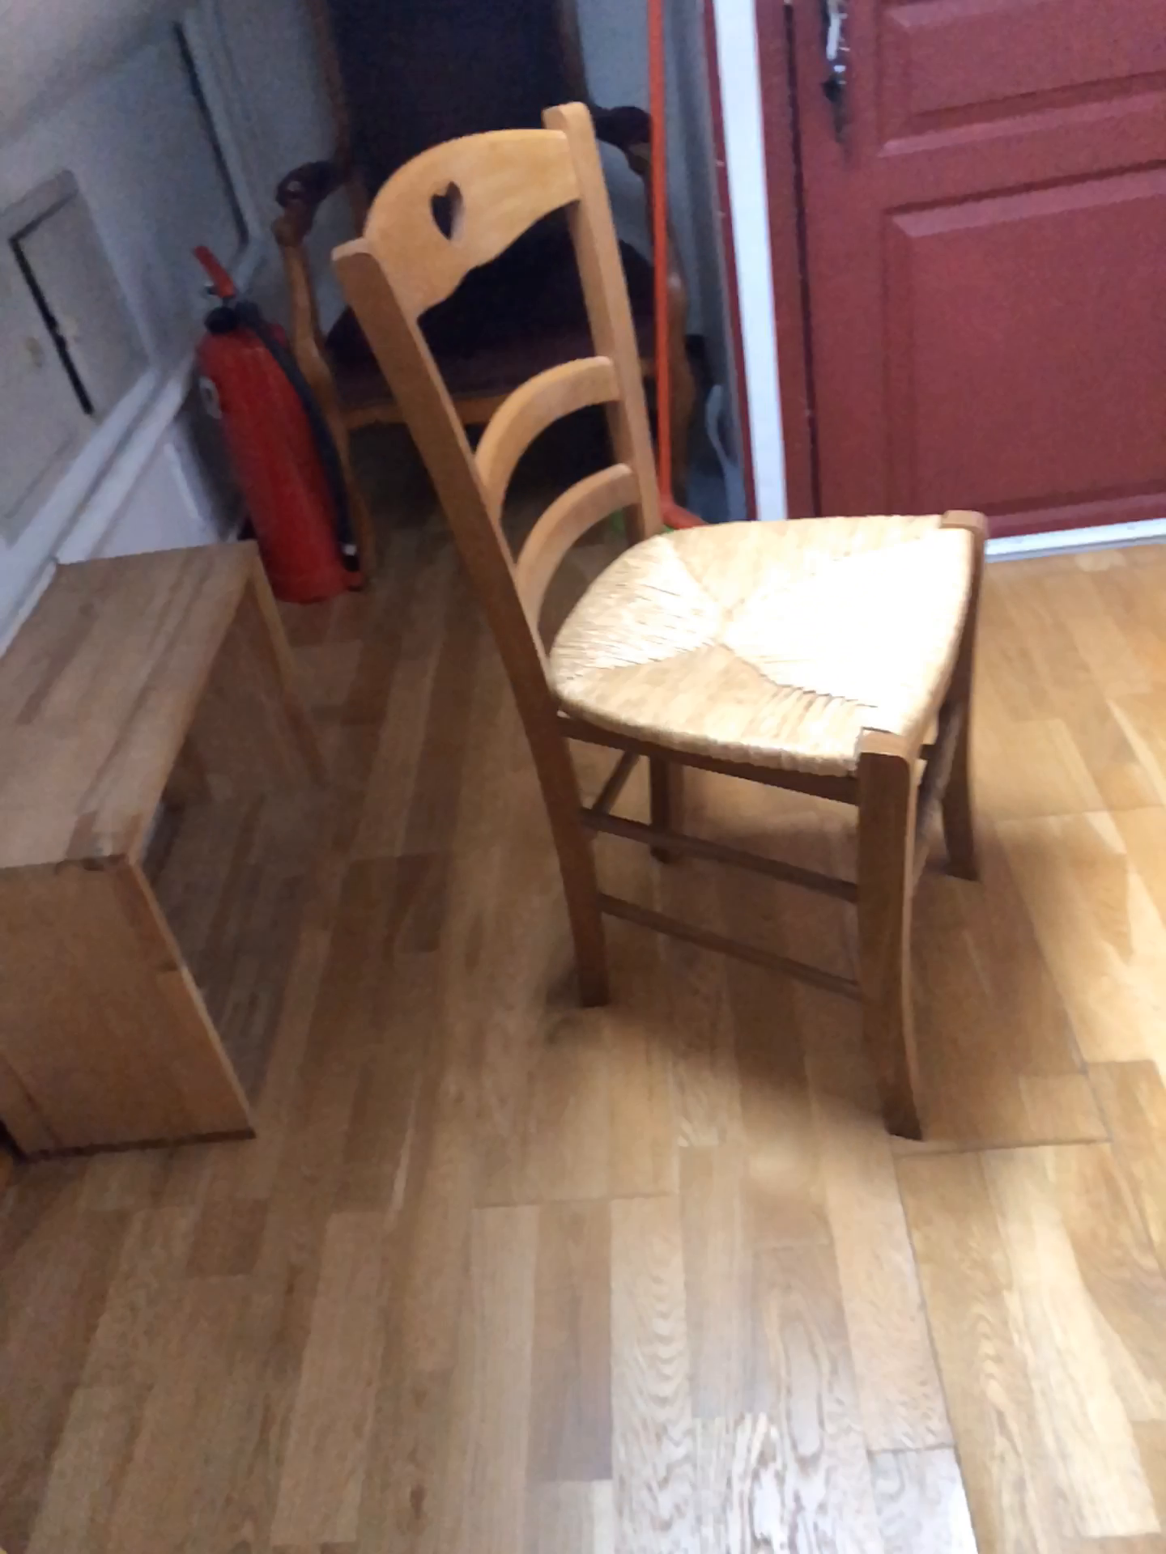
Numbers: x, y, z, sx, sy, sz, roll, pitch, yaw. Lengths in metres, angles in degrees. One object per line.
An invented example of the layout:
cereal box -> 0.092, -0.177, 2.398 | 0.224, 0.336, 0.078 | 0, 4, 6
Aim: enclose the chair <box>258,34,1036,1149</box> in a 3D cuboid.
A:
chair -> 0.134, -0.145, 1.140 | 0.433, 0.793, 0.461 | 6, 40, 22
